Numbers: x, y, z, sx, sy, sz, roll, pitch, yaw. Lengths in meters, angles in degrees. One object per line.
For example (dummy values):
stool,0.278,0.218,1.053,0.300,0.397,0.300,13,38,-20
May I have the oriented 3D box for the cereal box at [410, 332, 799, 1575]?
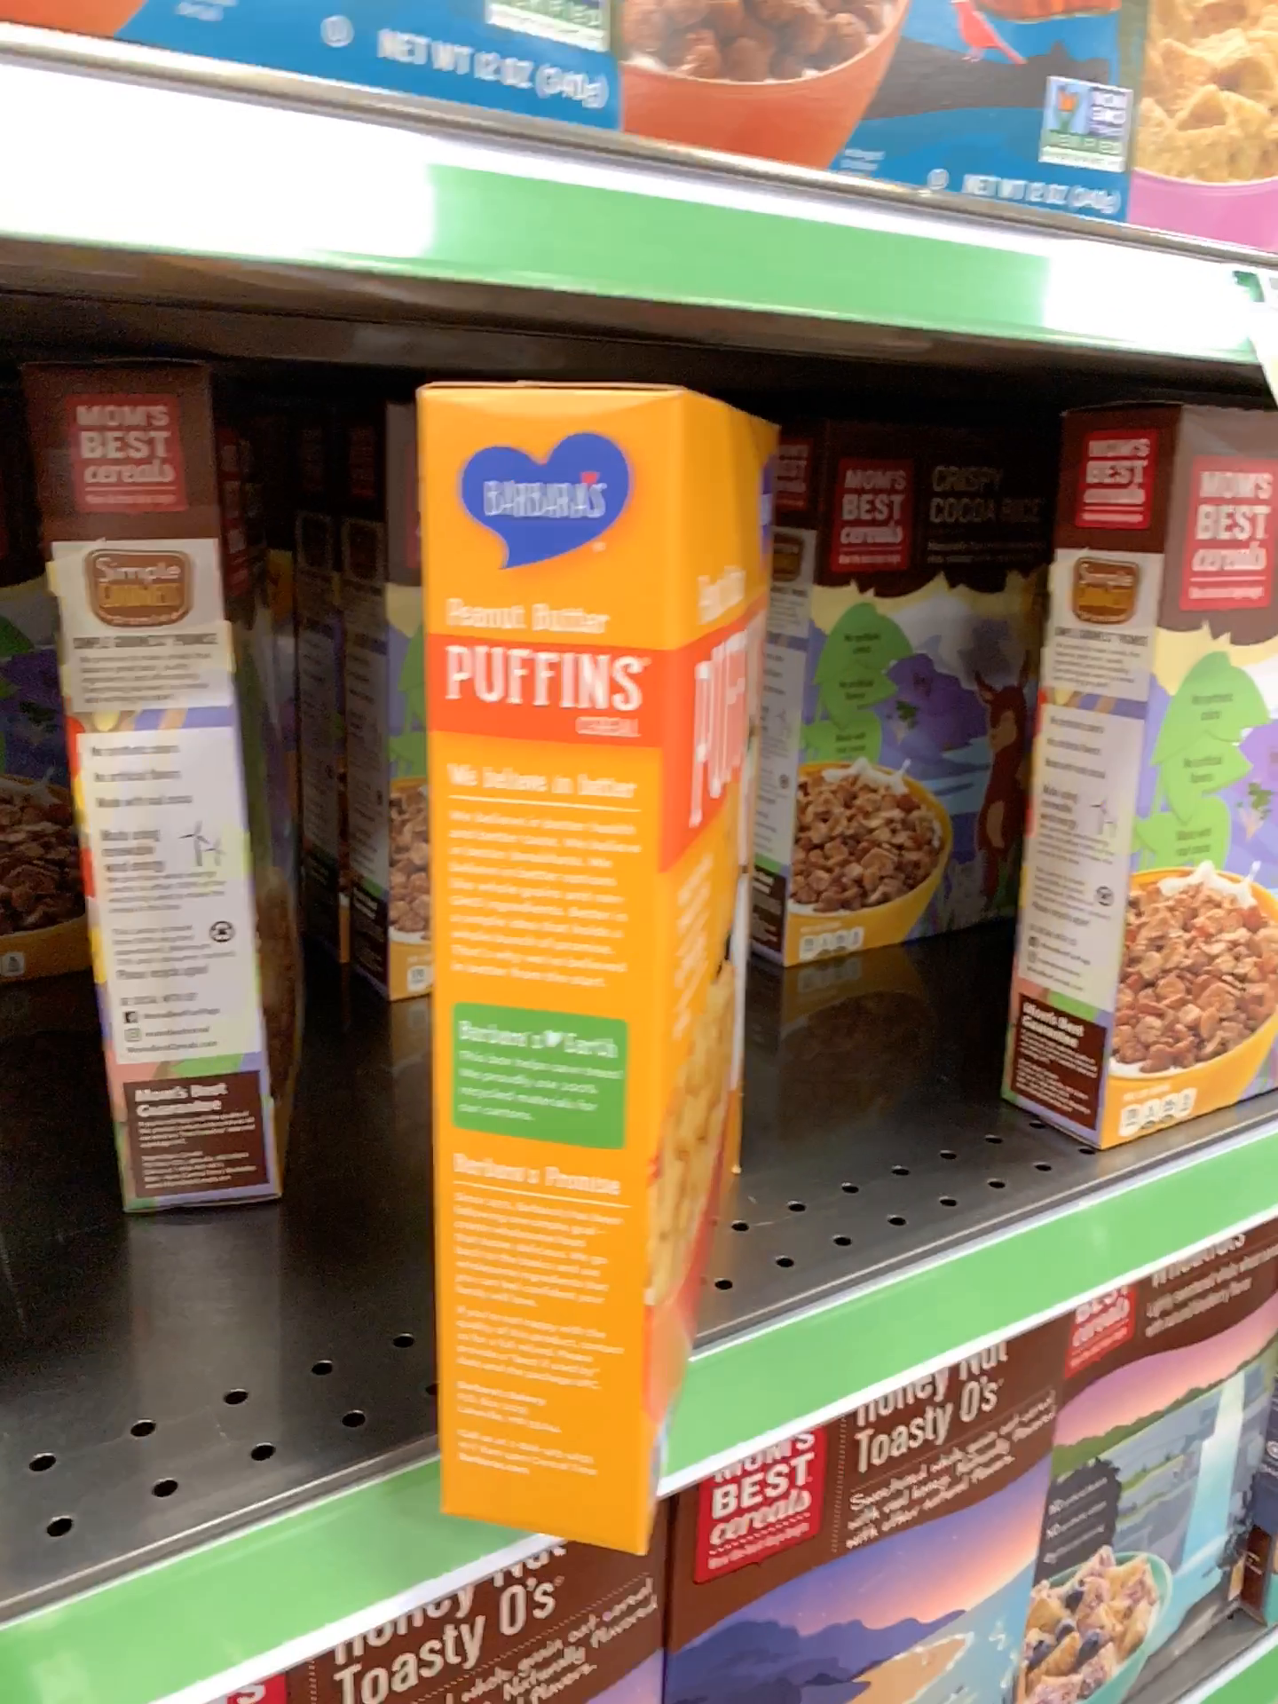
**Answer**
cereal box,0.003,0.008,0.391,0.060,0.279,0.221,3,15,10
